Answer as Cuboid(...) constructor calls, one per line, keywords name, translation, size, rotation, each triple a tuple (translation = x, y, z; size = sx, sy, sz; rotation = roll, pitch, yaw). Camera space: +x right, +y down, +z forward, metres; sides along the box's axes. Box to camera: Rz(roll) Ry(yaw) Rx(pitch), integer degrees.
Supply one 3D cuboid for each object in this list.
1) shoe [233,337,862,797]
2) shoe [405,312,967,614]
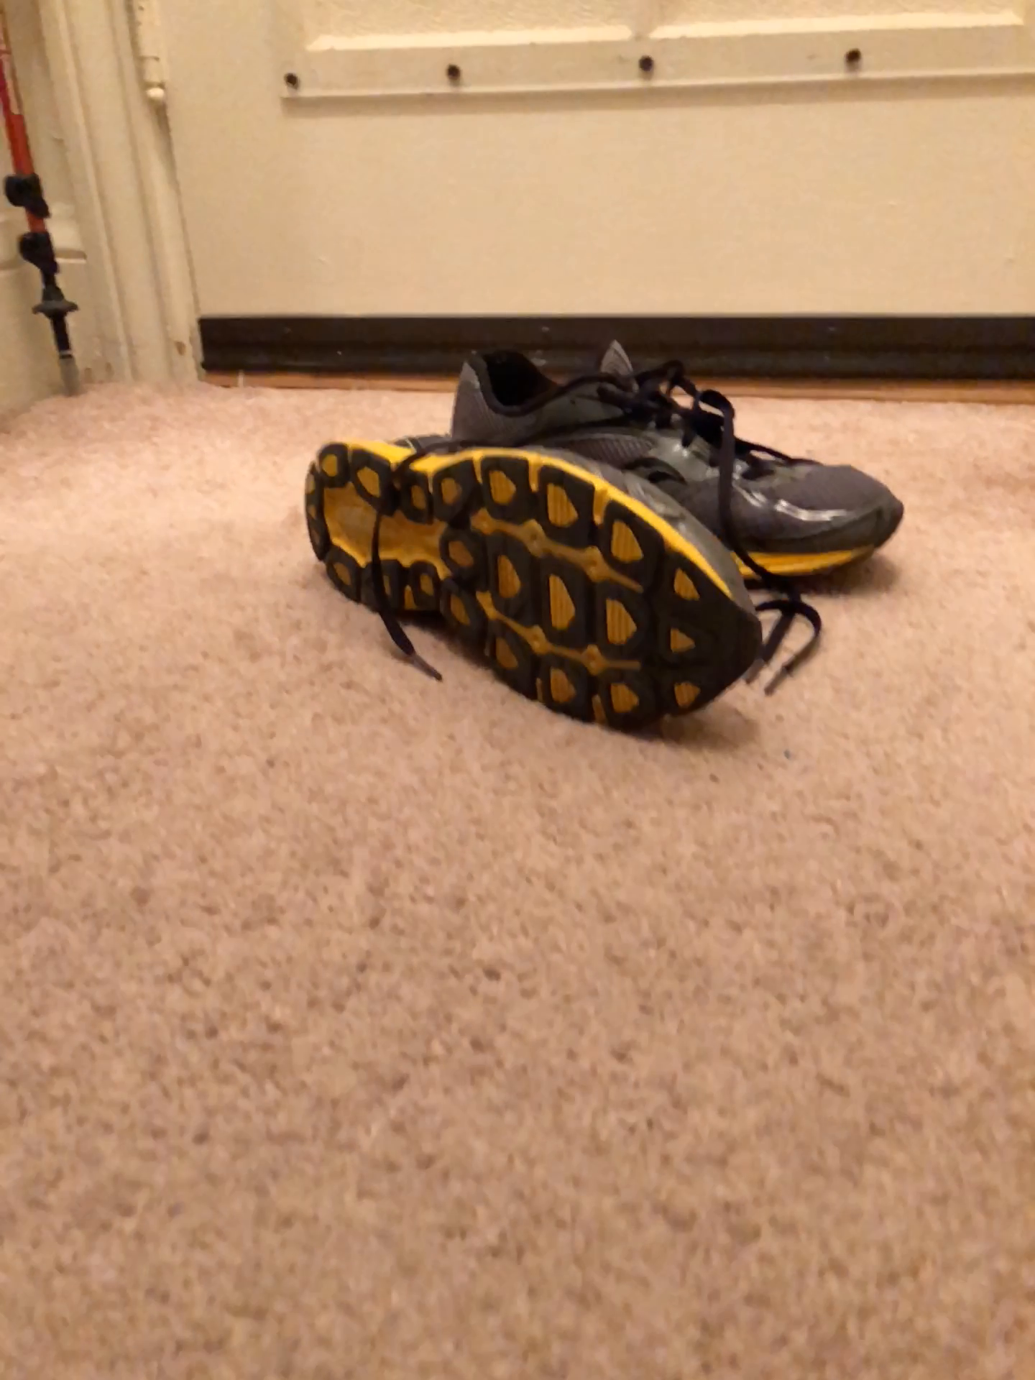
Cuboid(name="shoe", translation=(-0.001, -0.079, 0.542), size=(0.109, 0.117, 0.294), rotation=(-28, 37, -35))
Cuboid(name="shoe", translation=(0.085, -0.141, 0.647), size=(0.284, 0.098, 0.119), rotation=(18, 34, 32))
